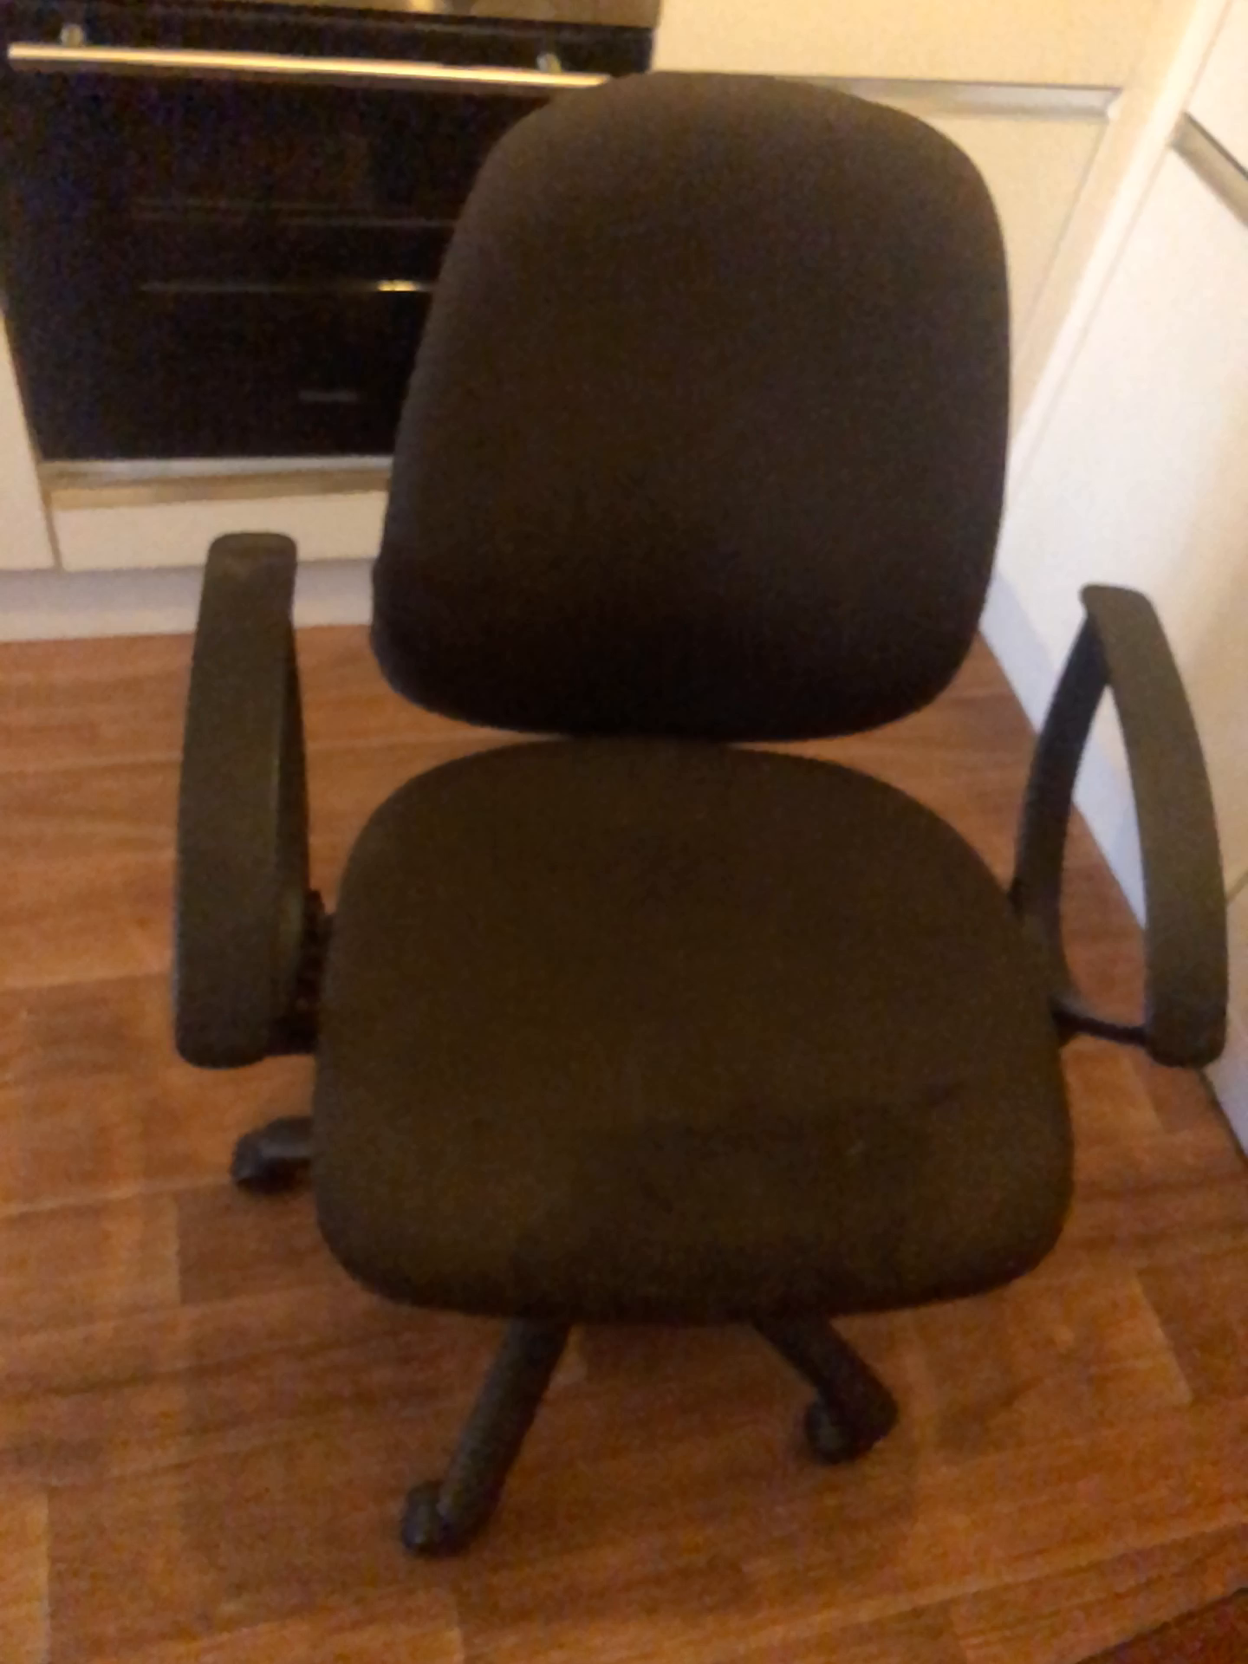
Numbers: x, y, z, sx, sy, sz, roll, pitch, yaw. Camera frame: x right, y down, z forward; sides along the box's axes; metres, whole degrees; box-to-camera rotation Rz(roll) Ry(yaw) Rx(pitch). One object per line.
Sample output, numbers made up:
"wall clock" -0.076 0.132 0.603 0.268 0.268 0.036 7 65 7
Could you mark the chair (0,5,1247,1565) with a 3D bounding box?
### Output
"chair" 0.043 0.051 0.959 0.673 0.816 0.655 4 50 -8
